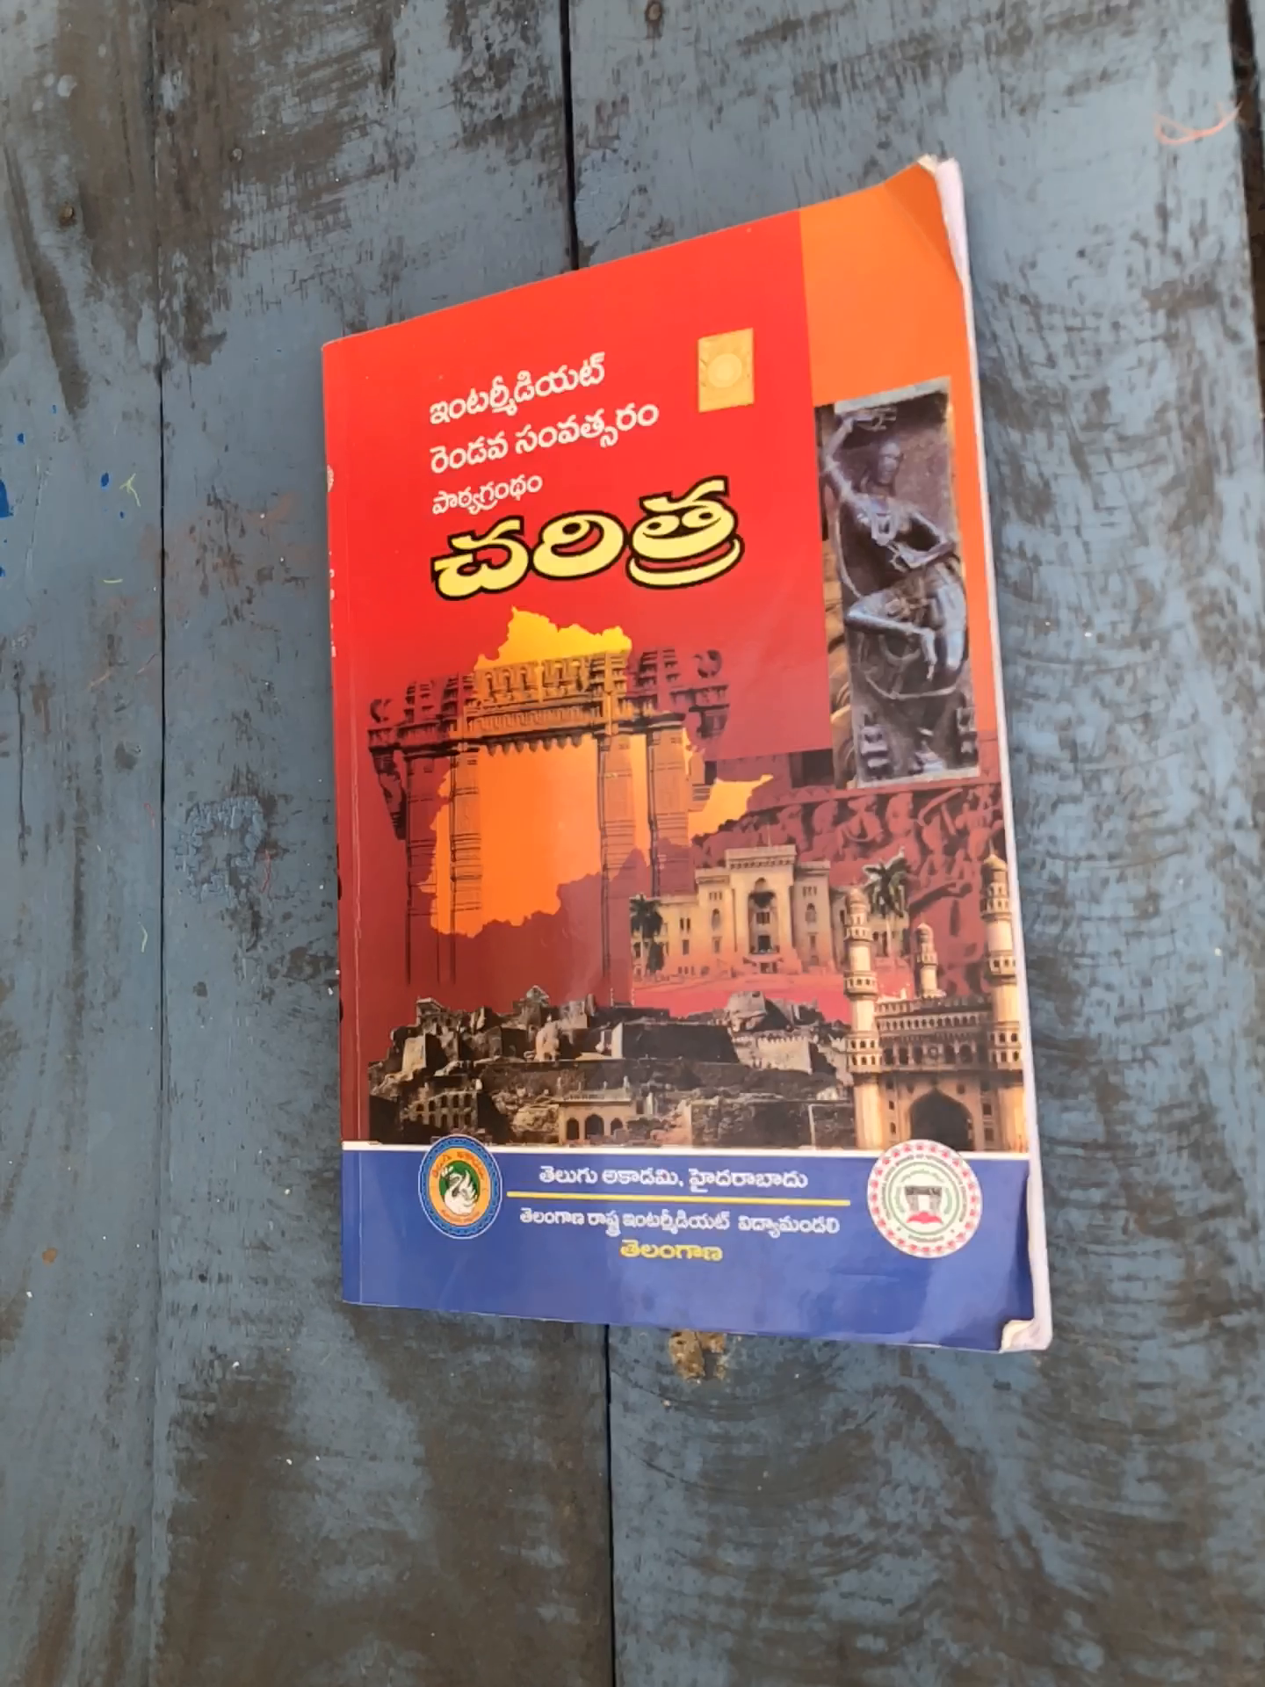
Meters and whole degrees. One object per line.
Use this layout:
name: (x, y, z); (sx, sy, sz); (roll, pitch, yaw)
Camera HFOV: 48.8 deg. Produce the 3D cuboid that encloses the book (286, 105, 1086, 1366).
book: (0.004, -0.022, 0.350); (0.190, 0.040, 0.270); (-5, 82, 24)
